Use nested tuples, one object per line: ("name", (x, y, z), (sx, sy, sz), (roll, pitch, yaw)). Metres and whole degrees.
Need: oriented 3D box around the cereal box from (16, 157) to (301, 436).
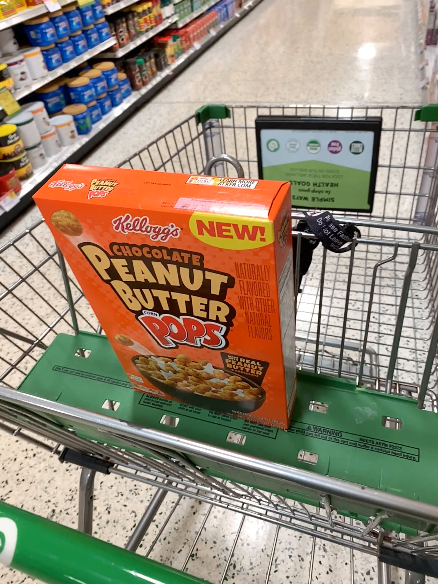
("cereal box", (-0.030, 0.021, 0.423), (0.200, 0.287, 0.050), (9, 49, 19))
